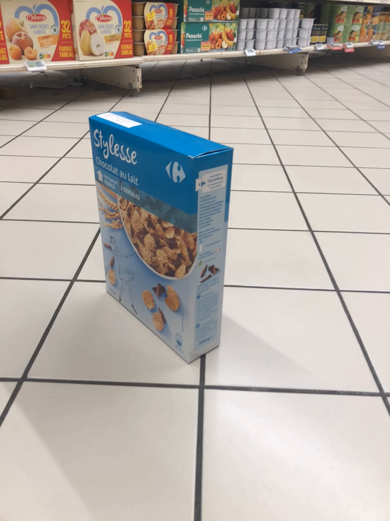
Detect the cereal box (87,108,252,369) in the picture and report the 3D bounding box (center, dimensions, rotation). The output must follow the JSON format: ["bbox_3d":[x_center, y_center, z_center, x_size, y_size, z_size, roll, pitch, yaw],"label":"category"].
[{"bbox_3d":[-0.040,-0.034,0.517,0.070,0.248,0.200,-21,37,-35],"label":"cereal box"}]
